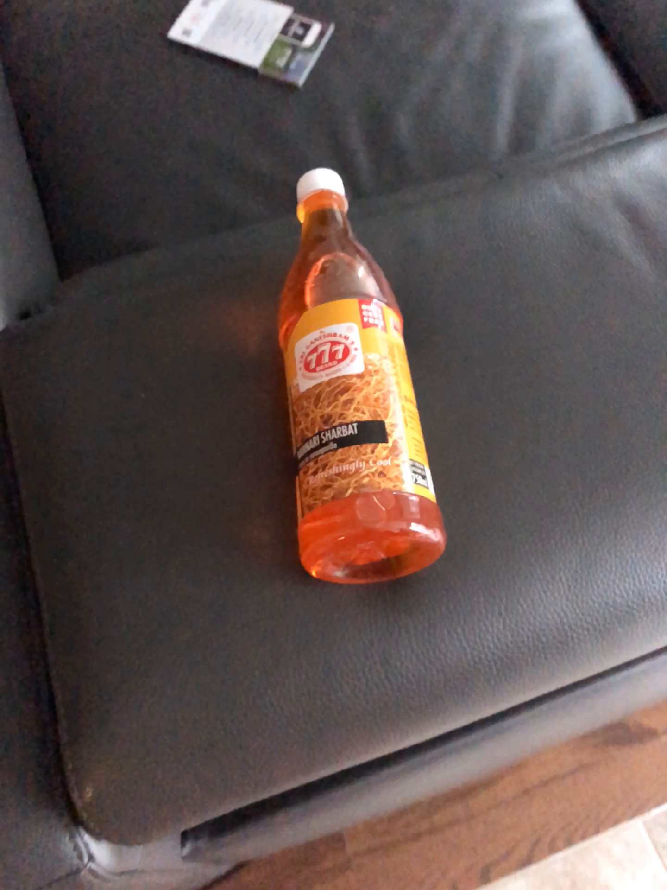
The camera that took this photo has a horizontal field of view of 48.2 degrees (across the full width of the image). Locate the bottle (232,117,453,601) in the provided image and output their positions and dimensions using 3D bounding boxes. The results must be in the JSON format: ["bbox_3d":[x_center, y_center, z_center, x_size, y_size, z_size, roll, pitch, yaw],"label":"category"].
[{"bbox_3d":[-0.002,-0.061,0.438,0.080,0.070,0.281,-14,60,11],"label":"bottle"}]
